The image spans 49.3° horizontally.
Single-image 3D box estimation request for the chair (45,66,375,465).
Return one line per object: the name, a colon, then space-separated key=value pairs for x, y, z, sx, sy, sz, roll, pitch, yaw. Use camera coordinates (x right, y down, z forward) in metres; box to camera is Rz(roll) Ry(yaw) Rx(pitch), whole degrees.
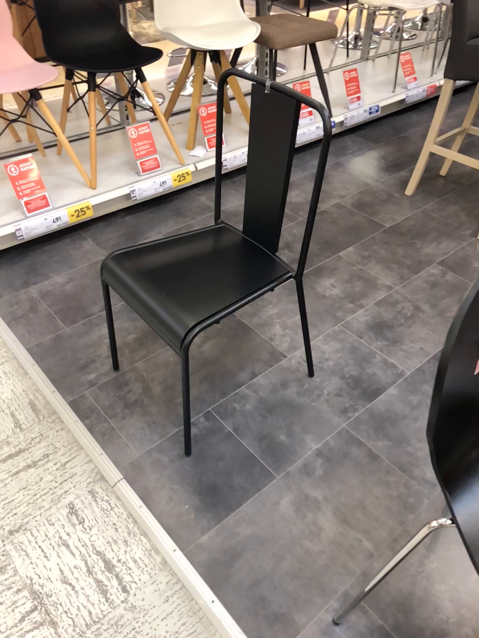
chair: x=-0.064 y=-0.146 z=1.411 sx=0.572 sy=0.815 sz=0.441 roll=-29 pitch=49 yaw=-30
